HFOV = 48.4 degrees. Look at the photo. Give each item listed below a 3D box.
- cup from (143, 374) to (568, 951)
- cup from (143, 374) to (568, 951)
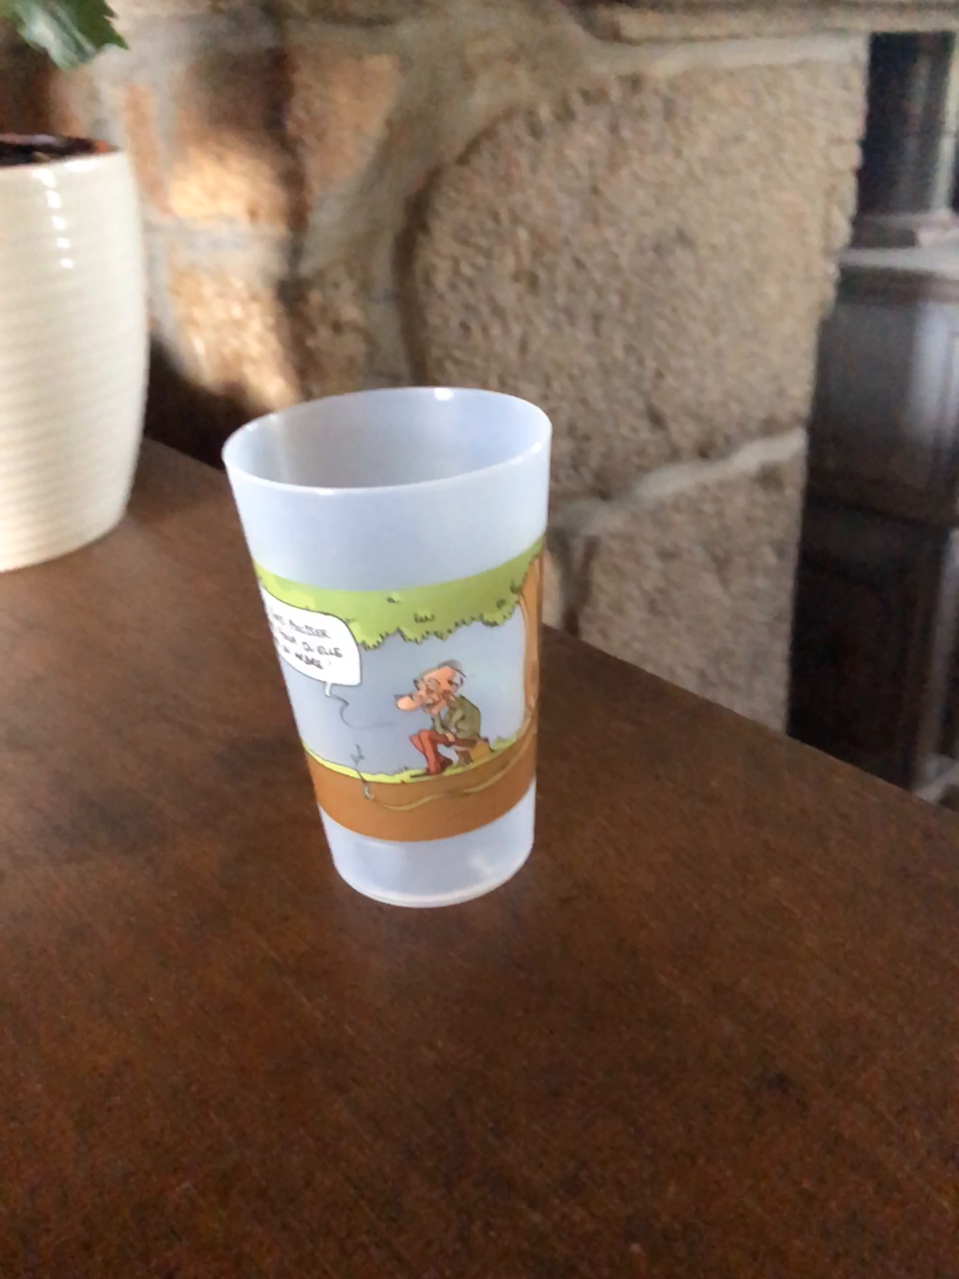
[{"bbox_3d":[-0.020,0.004,0.270,0.080,0.119,0.080,-3,27,2],"label":"cup"},{"bbox_3d":[-0.020,0.004,0.270,0.080,0.119,0.080,-3,27,2],"label":"cup"}]
